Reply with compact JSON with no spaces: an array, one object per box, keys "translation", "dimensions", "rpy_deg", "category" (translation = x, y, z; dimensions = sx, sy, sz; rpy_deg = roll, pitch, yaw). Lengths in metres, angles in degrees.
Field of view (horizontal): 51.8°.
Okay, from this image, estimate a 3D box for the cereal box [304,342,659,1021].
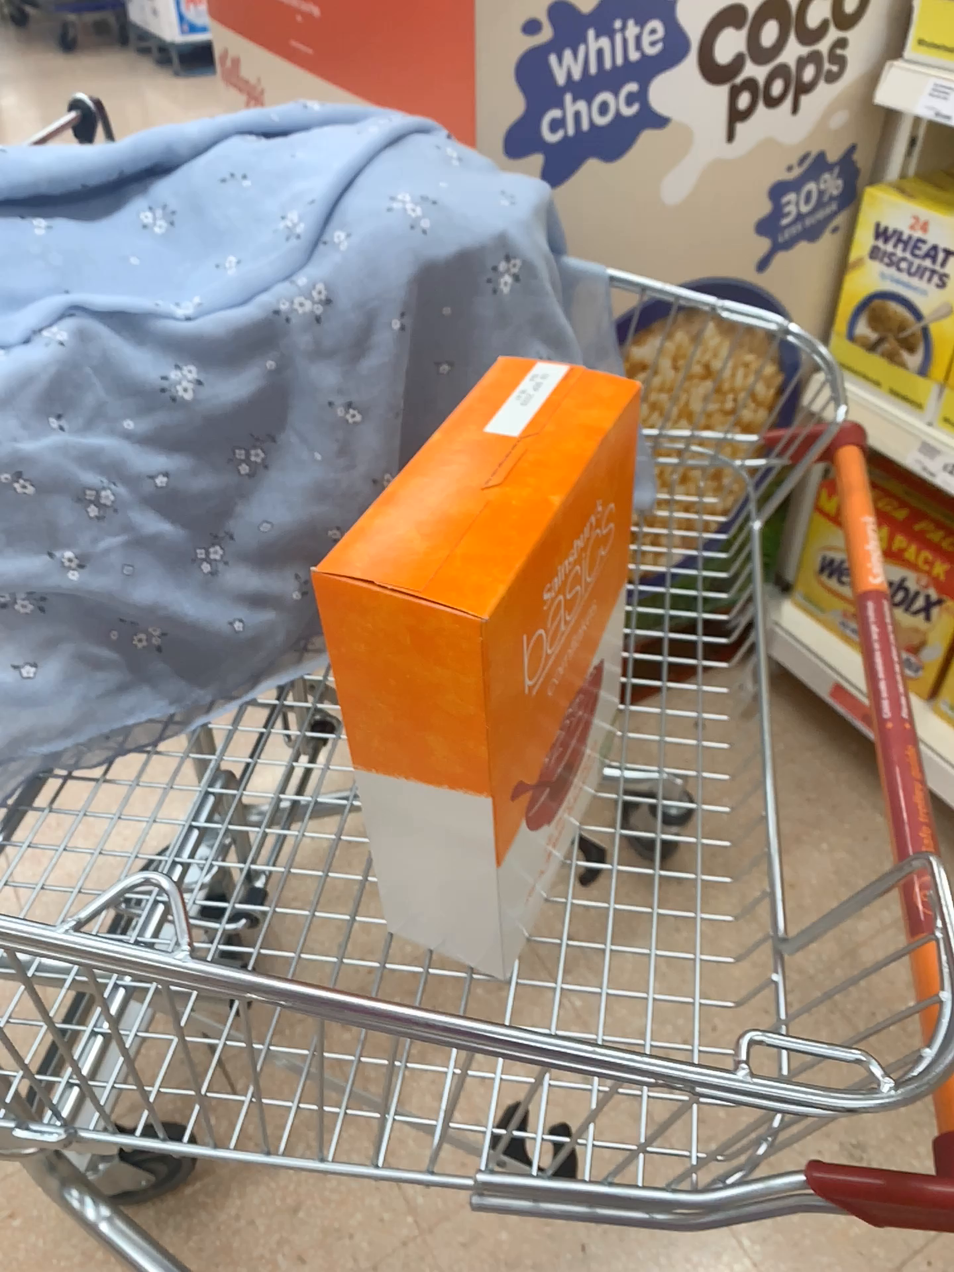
[{"translation":[0.021,0.032,0.547],"dimensions":[0.080,0.307,0.212],"rpy_deg":[15,46,20],"category":"cereal box"}]
